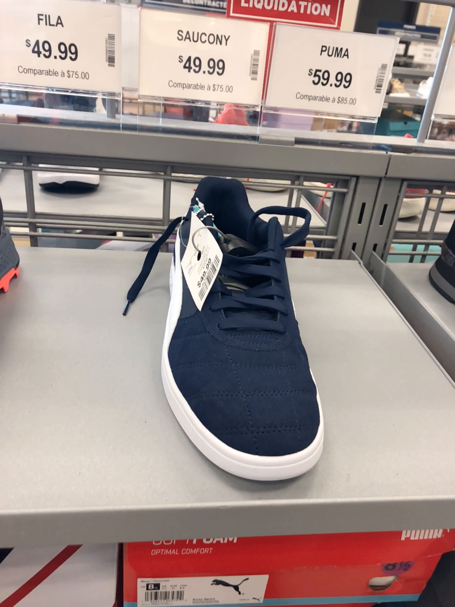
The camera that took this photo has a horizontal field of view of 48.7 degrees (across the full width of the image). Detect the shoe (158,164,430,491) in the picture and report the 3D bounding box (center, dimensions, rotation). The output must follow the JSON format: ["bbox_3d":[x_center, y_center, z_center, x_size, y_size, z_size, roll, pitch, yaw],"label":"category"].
[{"bbox_3d":[0.015,-0.007,0.362,0.119,0.119,0.242,1,29,-10],"label":"shoe"}]
